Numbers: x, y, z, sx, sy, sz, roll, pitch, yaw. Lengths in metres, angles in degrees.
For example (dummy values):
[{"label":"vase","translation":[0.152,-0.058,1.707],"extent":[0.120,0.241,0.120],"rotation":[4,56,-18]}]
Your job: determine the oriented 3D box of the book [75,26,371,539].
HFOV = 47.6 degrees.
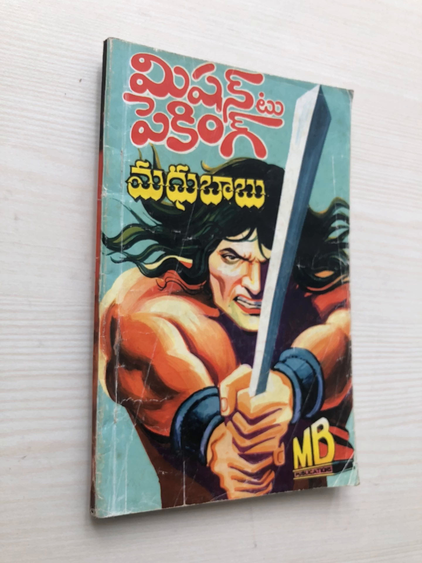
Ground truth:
[{"label":"book","translation":[0.006,0.000,0.172],"extent":[0.100,0.030,0.150],"rotation":[2,87,-21]}]
